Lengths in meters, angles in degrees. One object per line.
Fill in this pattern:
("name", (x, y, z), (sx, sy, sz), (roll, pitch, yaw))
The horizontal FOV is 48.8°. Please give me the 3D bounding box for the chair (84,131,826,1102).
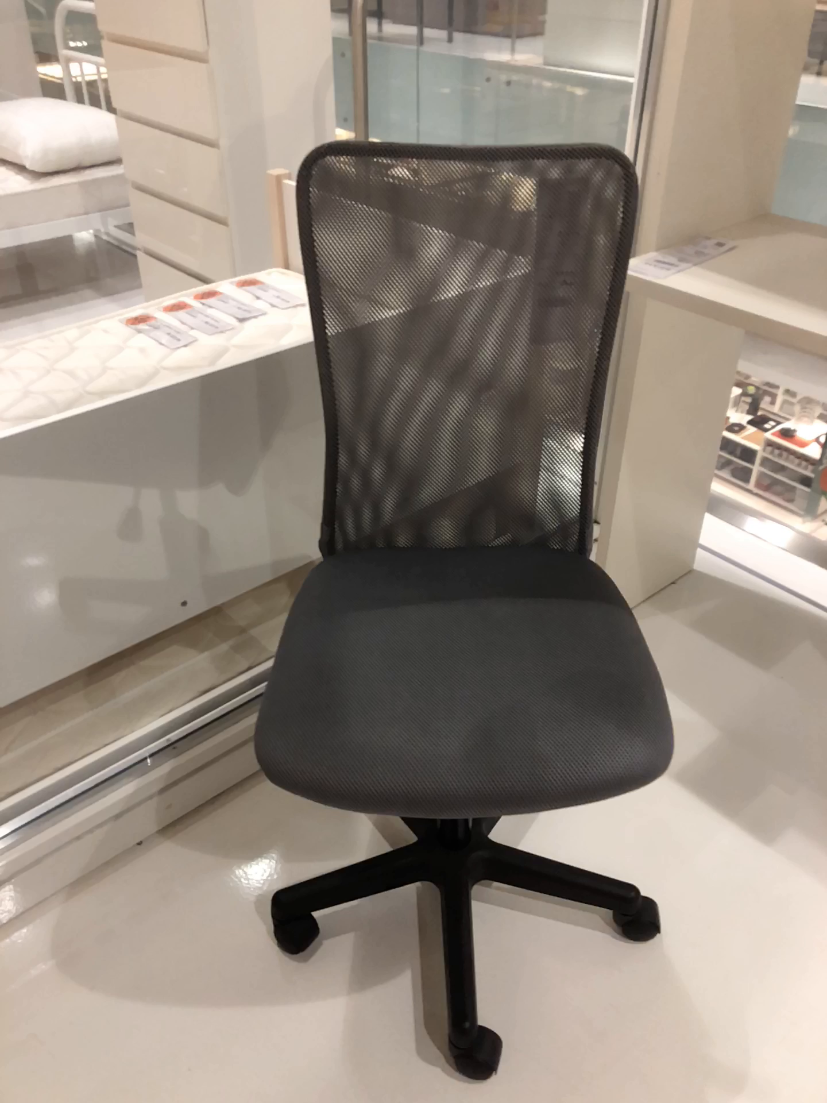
("chair", (0.089, 0.082, 1.050), (0.580, 0.933, 0.605), (-1, 35, -1))
